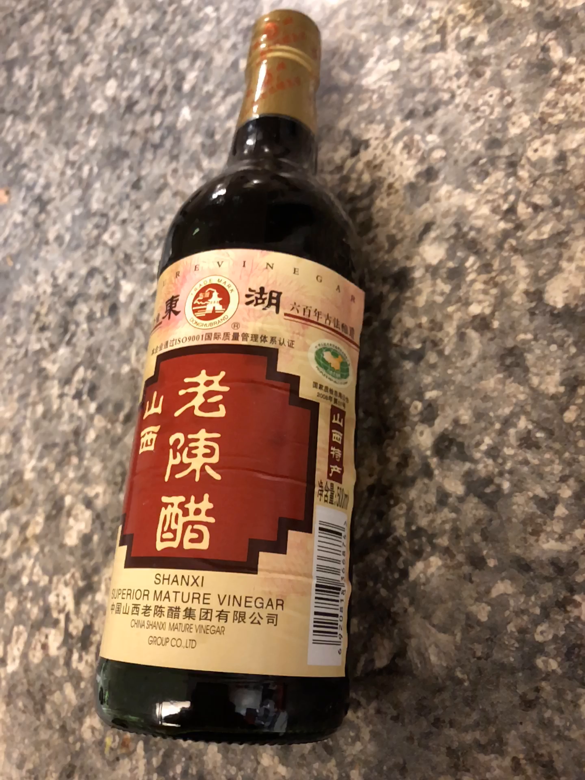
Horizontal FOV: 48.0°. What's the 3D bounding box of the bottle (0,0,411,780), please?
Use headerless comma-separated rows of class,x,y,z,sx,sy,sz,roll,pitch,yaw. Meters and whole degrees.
bottle,-0.013,-0.028,0.197,0.070,0.070,0.240,-7,67,30
